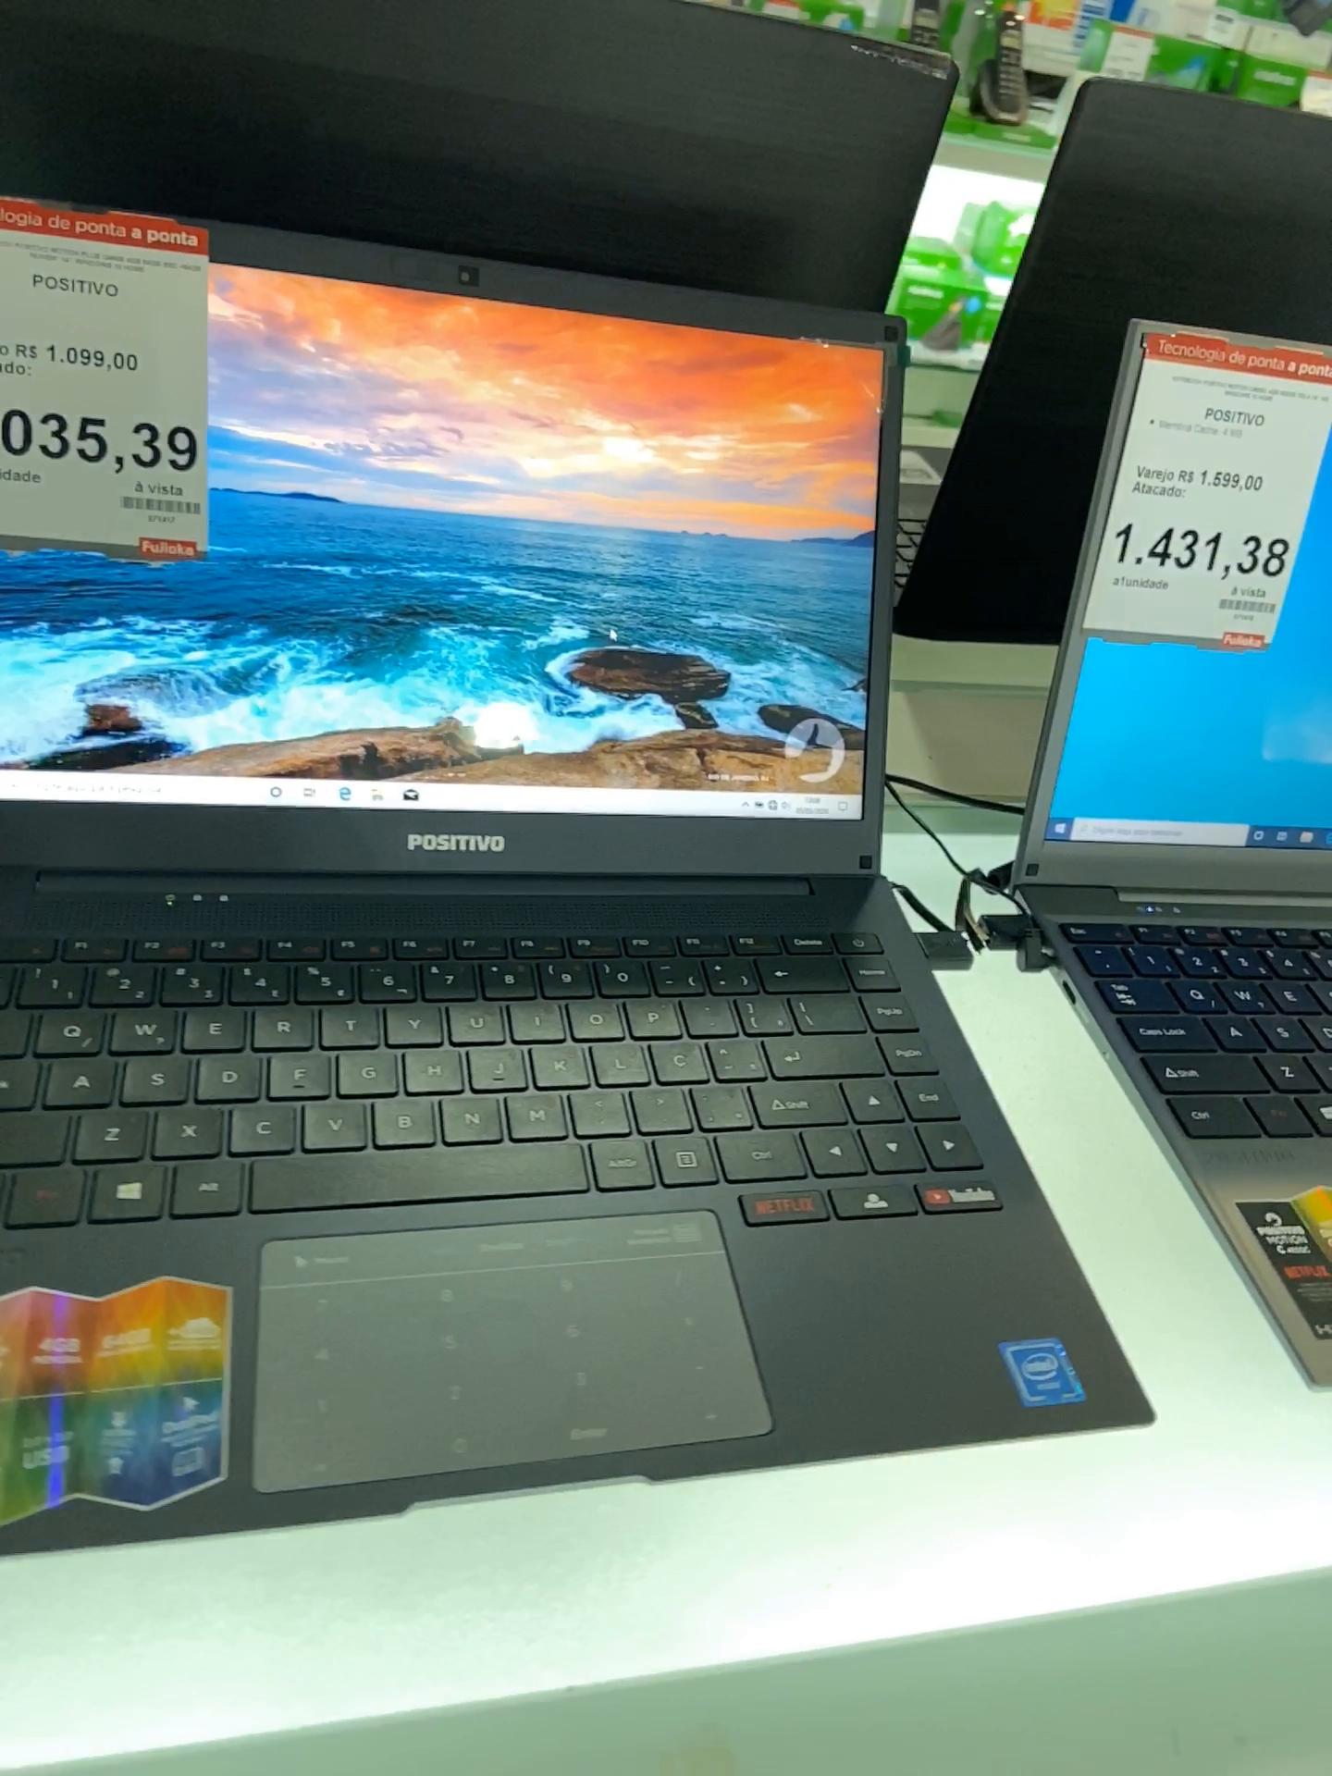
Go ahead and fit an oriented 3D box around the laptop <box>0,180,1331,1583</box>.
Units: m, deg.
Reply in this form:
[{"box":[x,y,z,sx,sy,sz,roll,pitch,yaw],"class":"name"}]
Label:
[{"box":[-0.051,-0.042,0.402,0.334,0.174,0.355,1,39,-16],"class":"laptop"}]
